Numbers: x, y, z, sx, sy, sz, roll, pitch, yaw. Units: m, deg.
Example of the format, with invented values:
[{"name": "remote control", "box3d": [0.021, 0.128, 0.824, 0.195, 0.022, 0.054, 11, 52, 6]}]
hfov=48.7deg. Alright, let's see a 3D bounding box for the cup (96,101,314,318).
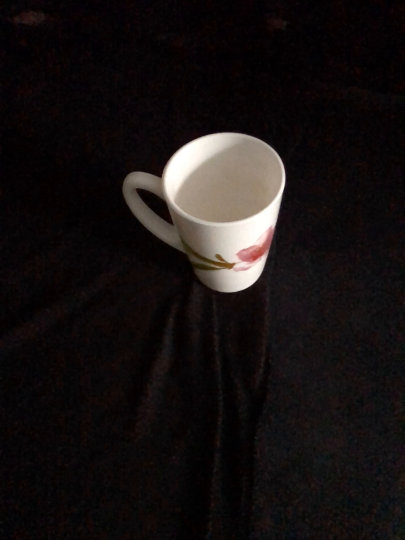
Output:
[{"name": "cup", "box3d": [0.004, -0.039, 0.346, 0.125, 0.130, 0.090, 10, 64, 4]}]
